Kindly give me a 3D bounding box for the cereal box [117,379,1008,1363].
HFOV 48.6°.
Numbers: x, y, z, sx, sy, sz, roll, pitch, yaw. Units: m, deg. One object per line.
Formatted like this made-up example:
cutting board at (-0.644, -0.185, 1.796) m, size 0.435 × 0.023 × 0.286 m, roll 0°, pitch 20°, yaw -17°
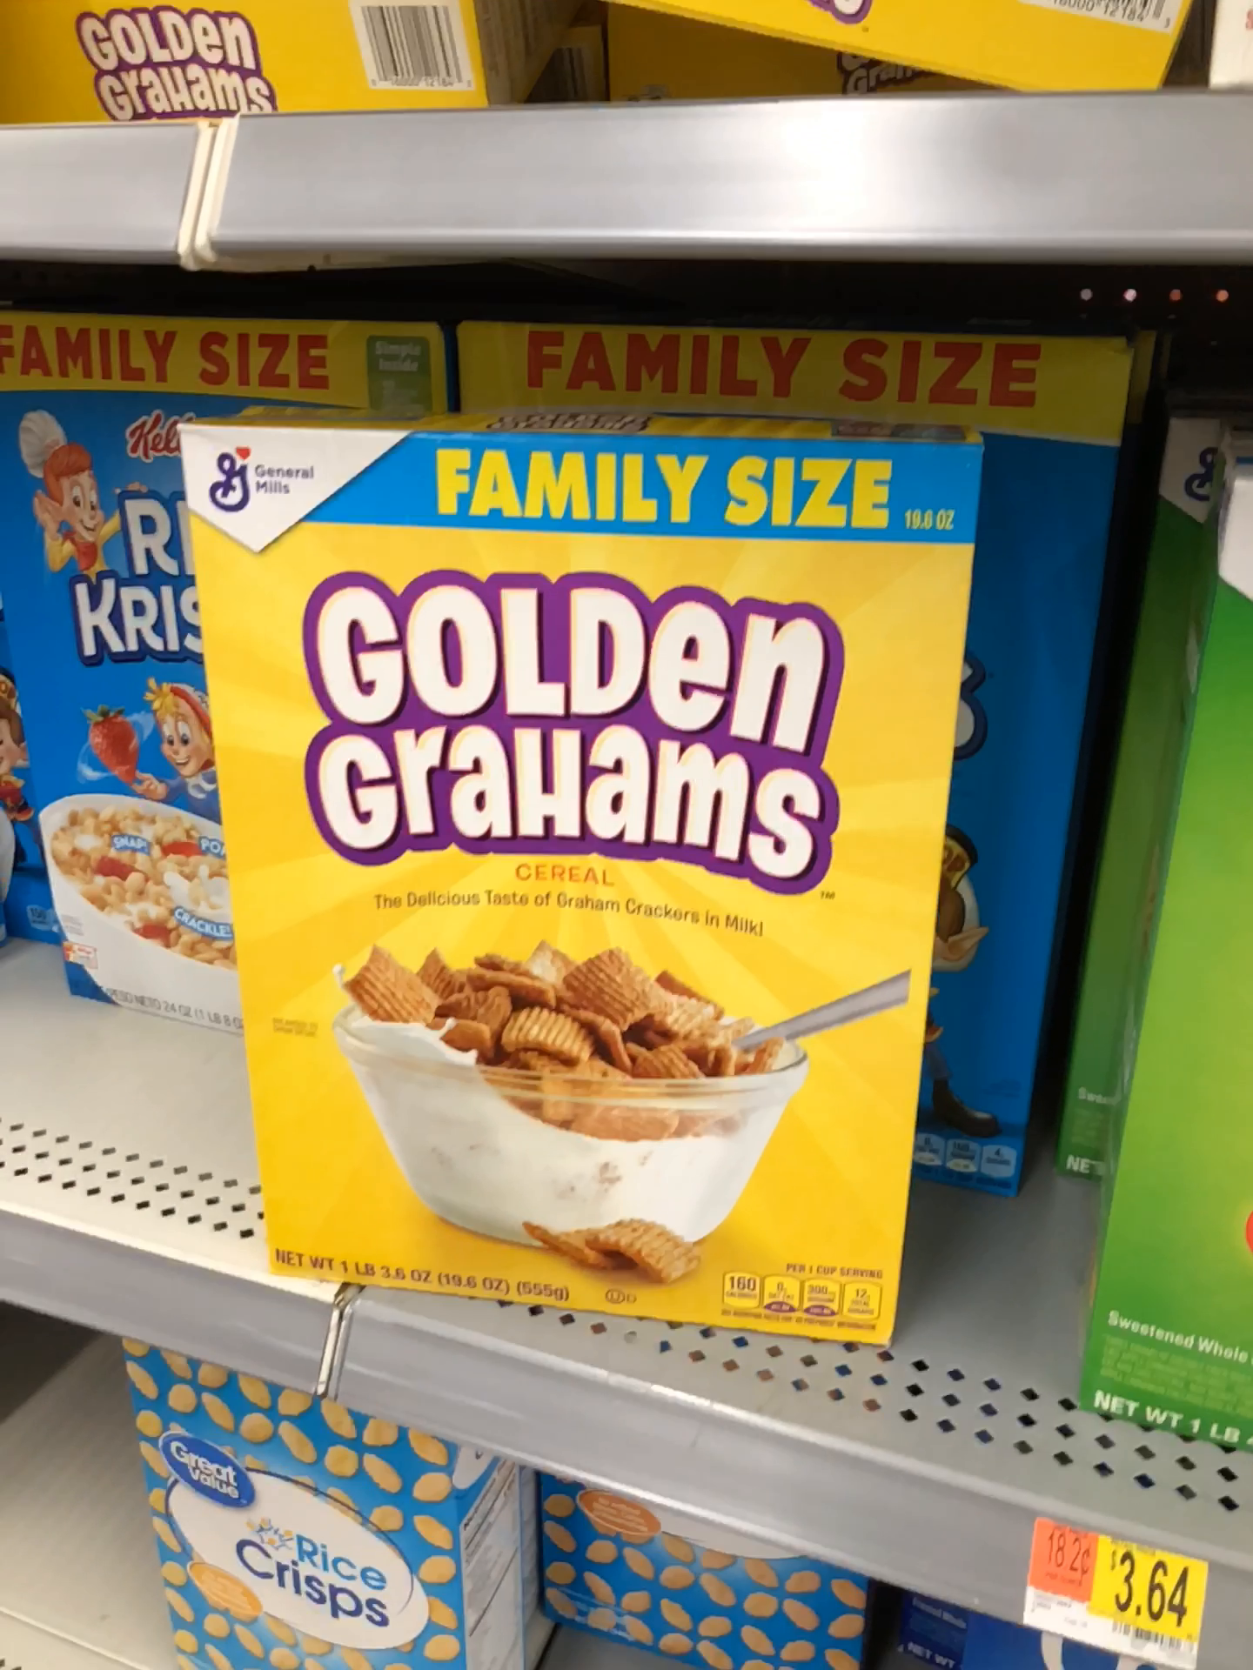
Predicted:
cereal box at (-0.017, 0.017, 0.461) m, size 0.240 × 0.309 × 0.070 m, roll 4°, pitch 24°, yaw 8°
